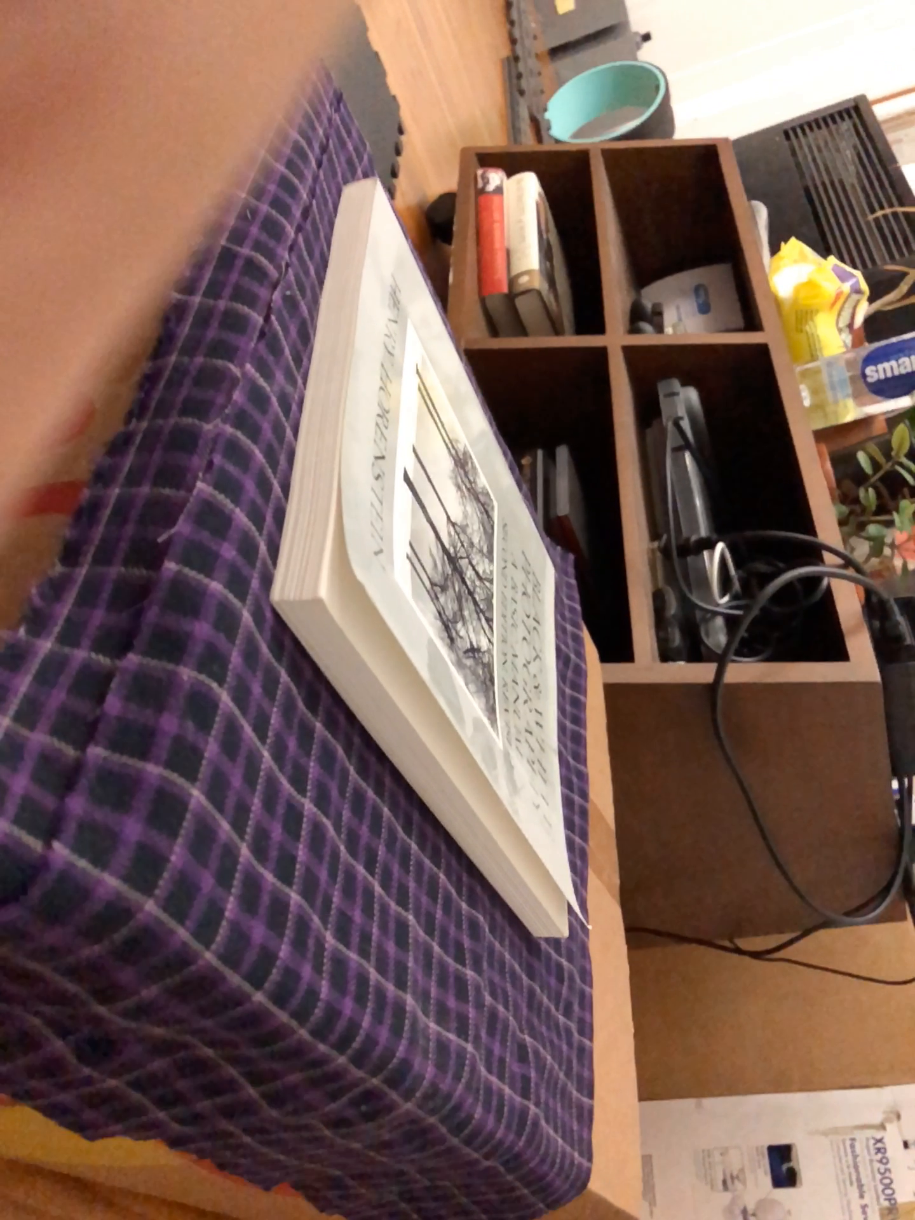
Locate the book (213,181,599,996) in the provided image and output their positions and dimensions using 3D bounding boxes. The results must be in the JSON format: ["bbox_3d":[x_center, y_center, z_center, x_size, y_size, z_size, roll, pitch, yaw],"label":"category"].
[{"bbox_3d":[0.002,0.003,0.396,0.250,0.030,0.211,59,25,-46],"label":"book"}]
